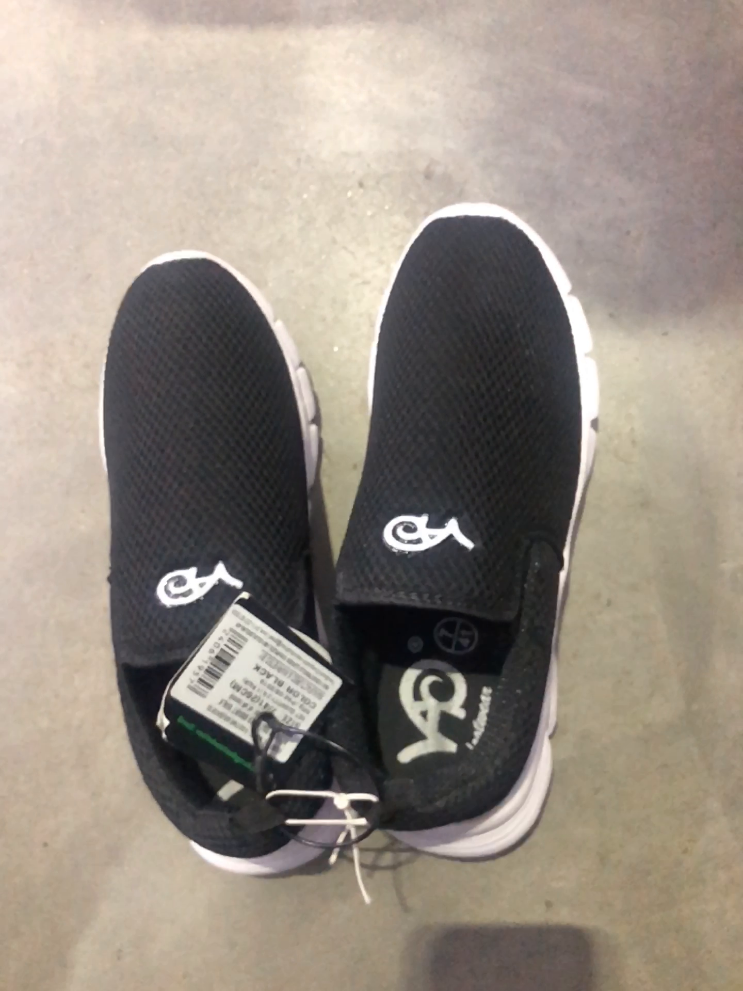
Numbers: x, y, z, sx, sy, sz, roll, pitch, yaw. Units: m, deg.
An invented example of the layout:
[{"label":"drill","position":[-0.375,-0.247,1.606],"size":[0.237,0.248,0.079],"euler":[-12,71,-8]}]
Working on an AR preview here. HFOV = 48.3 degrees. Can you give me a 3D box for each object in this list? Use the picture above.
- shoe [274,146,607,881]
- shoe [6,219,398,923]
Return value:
[{"label":"shoe","position":[0.040,0.004,0.365],"size":[0.110,0.100,0.270],"euler":[3,82,16]},{"label":"shoe","position":[-0.071,0.030,0.376],"size":[0.110,0.100,0.260],"euler":[-12,81,5]}]
